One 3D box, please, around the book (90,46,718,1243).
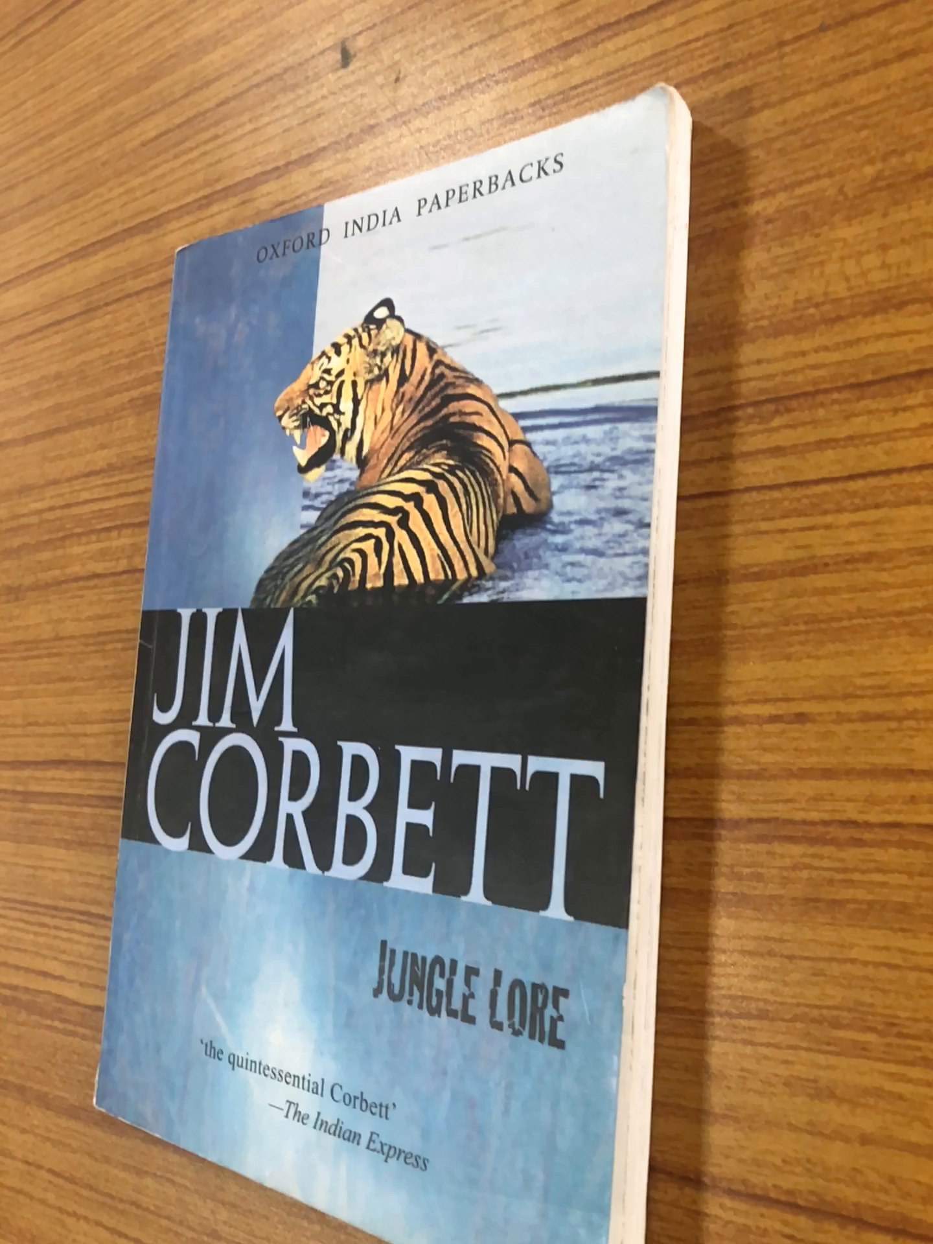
[{"bbox_3d":[-0.022,0.008,0.226,0.151,0.010,0.220,-1,83,36],"label":"book"}]
